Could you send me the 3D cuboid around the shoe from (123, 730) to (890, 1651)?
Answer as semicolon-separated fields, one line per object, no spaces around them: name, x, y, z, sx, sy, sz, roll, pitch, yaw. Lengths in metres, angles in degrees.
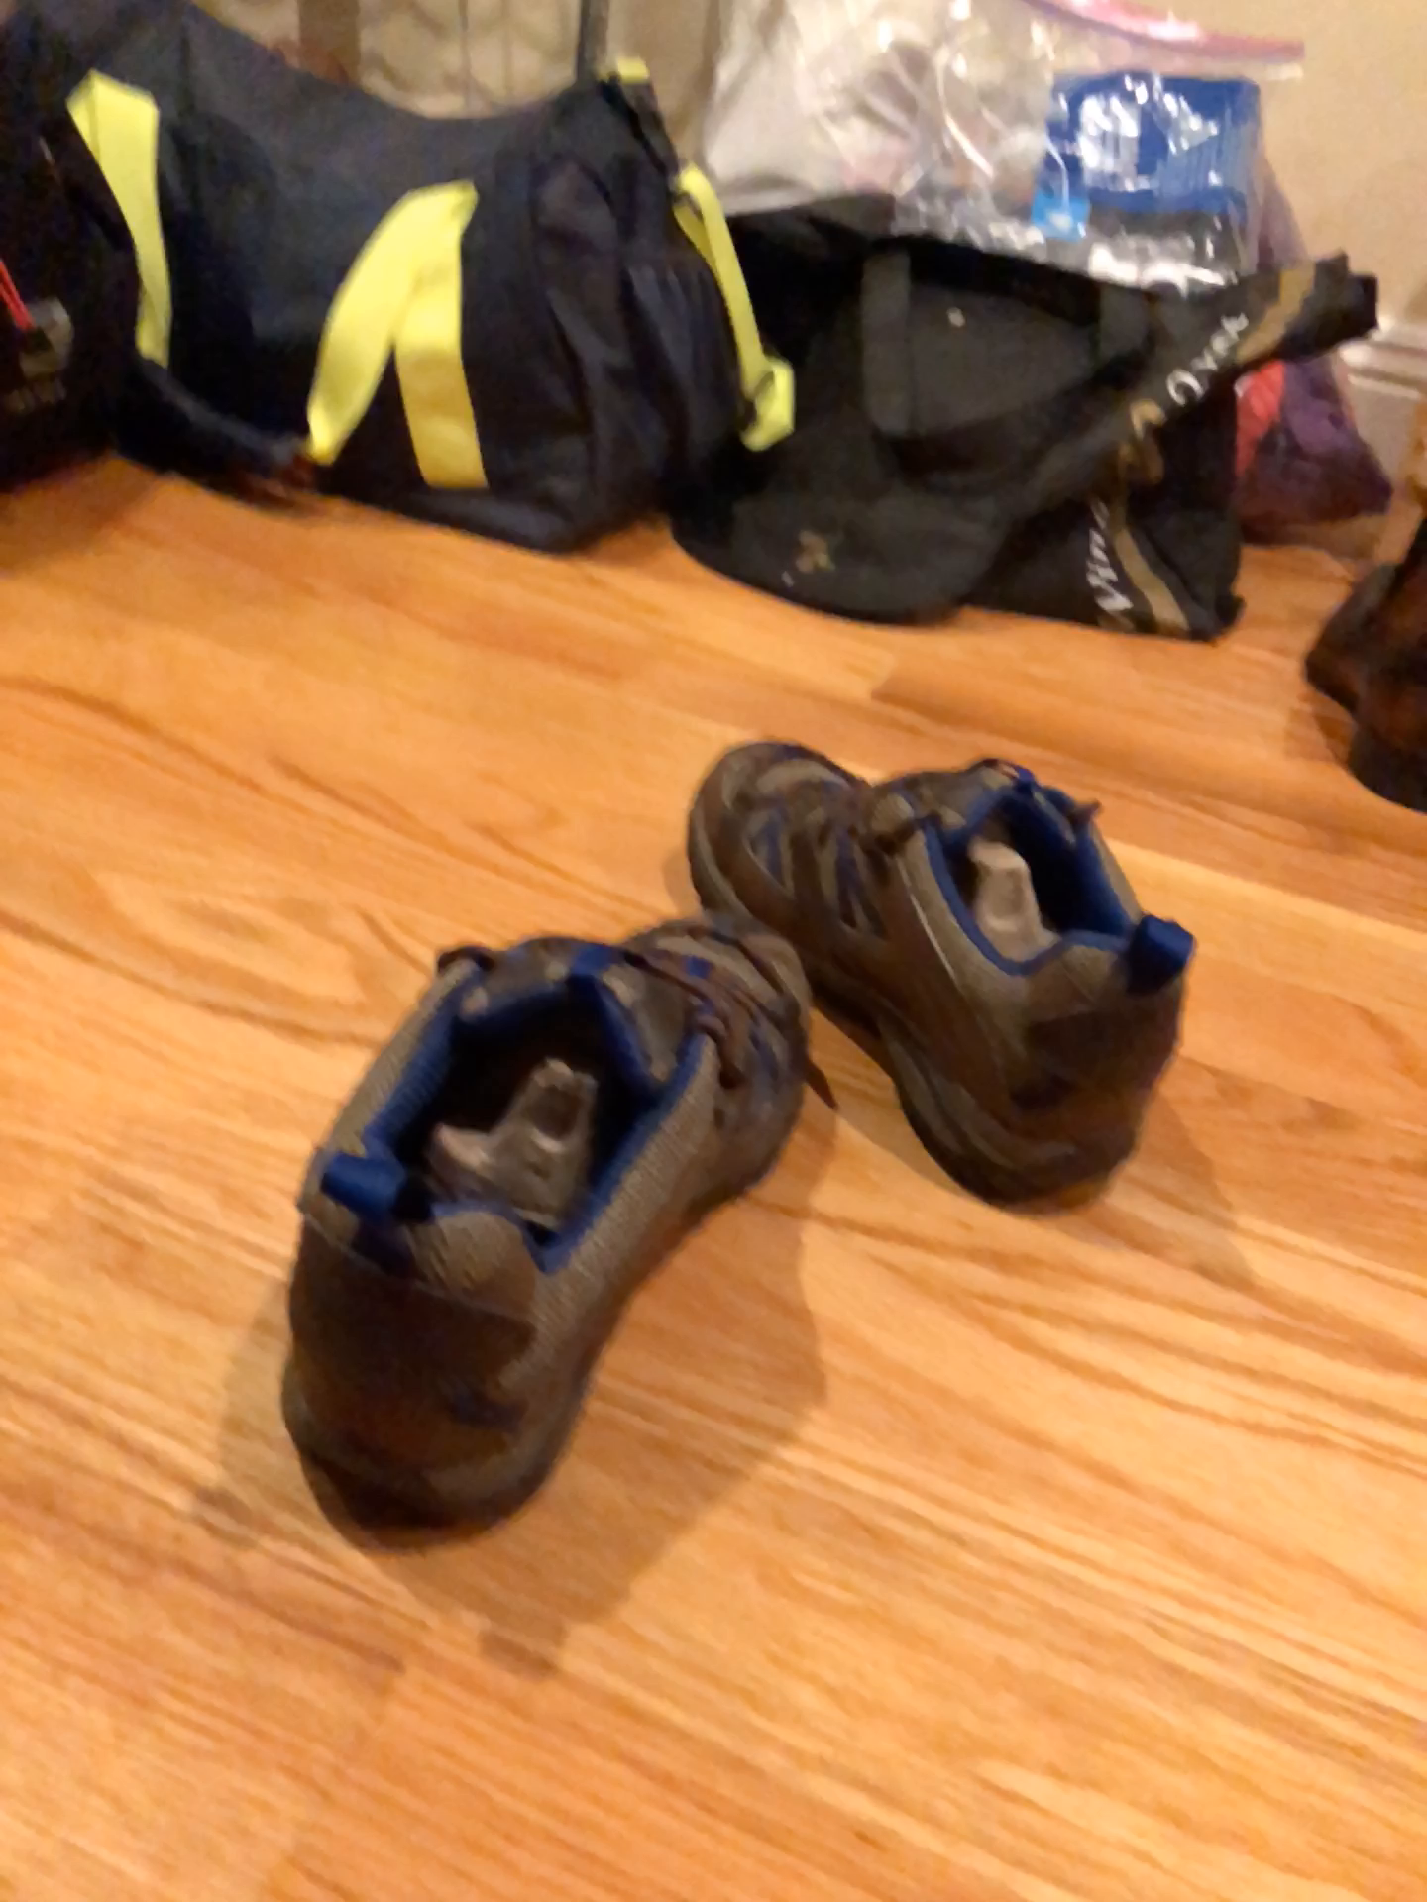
shoe;-0.040;0.042;0.431;0.094;0.106;0.241;19;33;13

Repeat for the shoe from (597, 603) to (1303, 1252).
shoe;0.062;-0.026;0.547;0.097;0.094;0.252;-10;37;-29
